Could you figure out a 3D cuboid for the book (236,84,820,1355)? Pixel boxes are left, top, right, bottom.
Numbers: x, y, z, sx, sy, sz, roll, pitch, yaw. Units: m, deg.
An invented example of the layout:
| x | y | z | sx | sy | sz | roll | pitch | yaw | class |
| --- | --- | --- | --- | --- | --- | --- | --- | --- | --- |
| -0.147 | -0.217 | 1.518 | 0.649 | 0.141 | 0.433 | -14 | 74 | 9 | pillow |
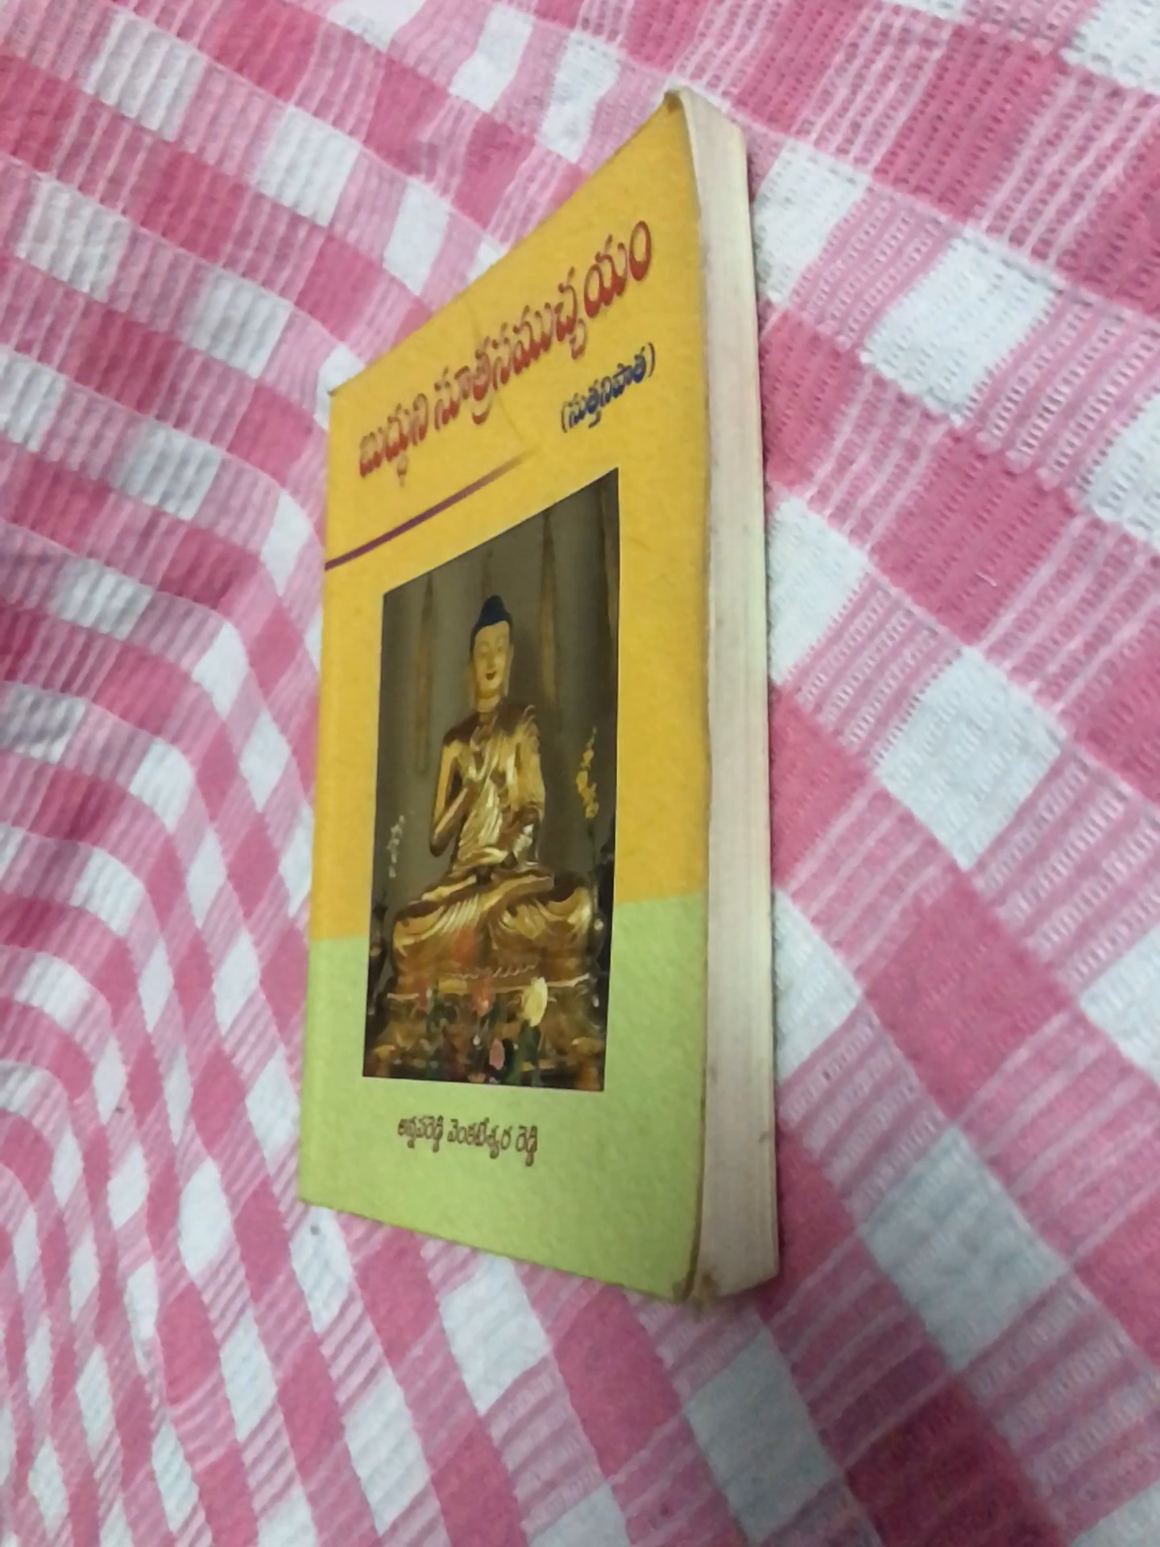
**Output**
| x | y | z | sx | sy | sz | roll | pitch | yaw | class |
| --- | --- | --- | --- | --- | --- | --- | --- | --- | --- |
| -0.018 | -0.006 | 0.273 | 0.151 | 0.030 | 0.210 | -14 | 70 | 50 | book |
